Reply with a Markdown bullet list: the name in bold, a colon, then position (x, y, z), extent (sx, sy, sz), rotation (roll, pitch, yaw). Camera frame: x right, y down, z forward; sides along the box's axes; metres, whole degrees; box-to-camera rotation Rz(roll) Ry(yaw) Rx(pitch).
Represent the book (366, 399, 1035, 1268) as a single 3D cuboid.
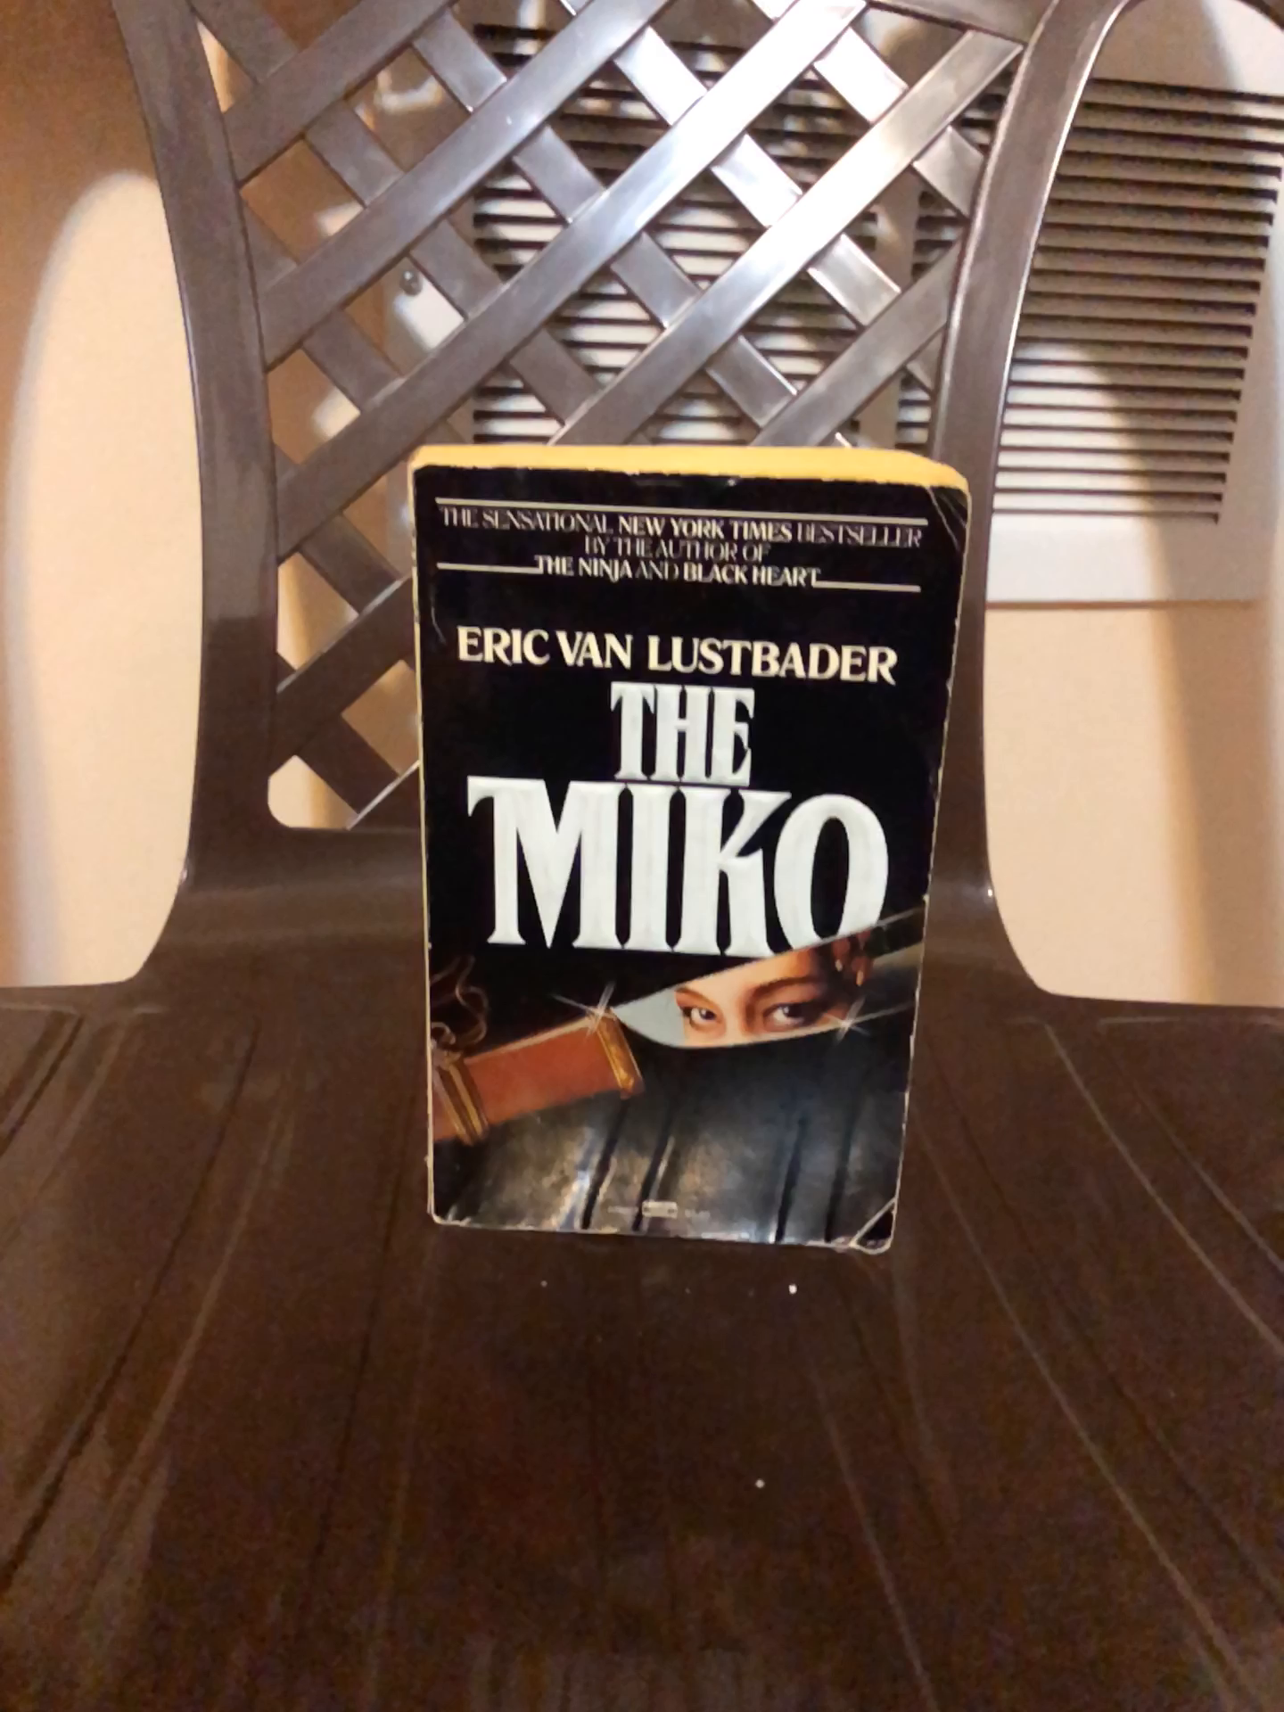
- **book**: position (0.007, -0.003, 0.298), extent (0.120, 0.169, 0.040), rotation (3, 16, 0)
